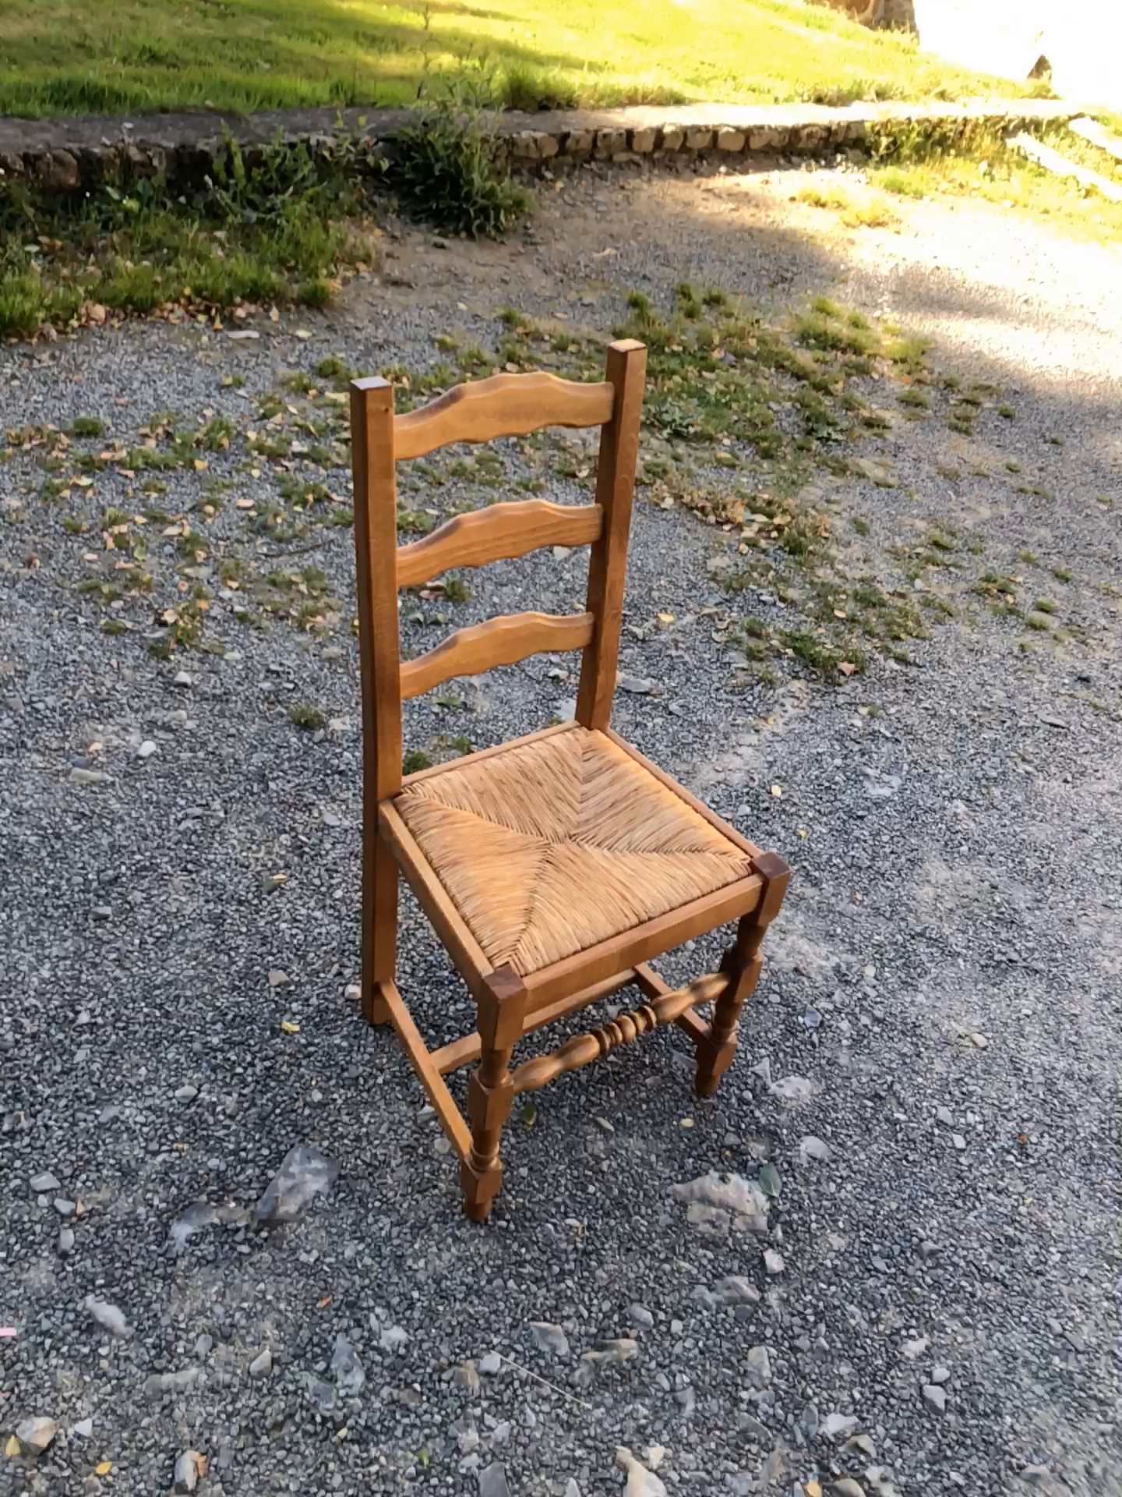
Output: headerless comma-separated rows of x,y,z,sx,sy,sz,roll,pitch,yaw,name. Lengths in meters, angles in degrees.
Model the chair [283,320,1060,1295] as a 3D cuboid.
0.041,0.062,1.427,0.533,0.884,0.521,-20,47,-32,chair
